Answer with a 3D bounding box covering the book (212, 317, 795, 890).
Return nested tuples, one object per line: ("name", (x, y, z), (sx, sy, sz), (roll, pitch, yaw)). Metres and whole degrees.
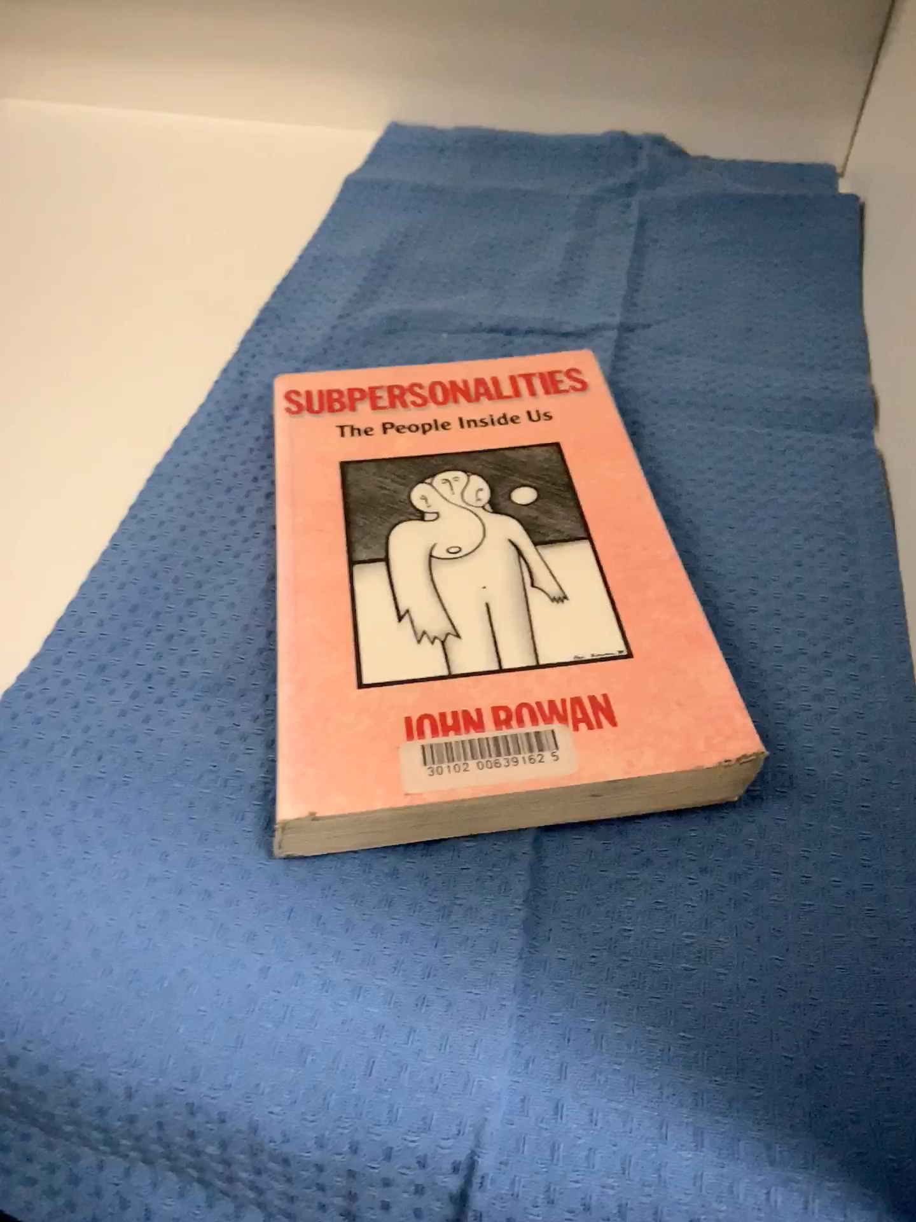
("book", (-0.003, -0.025, 0.348), (0.160, 0.040, 0.232), (-6, 47, -6))
